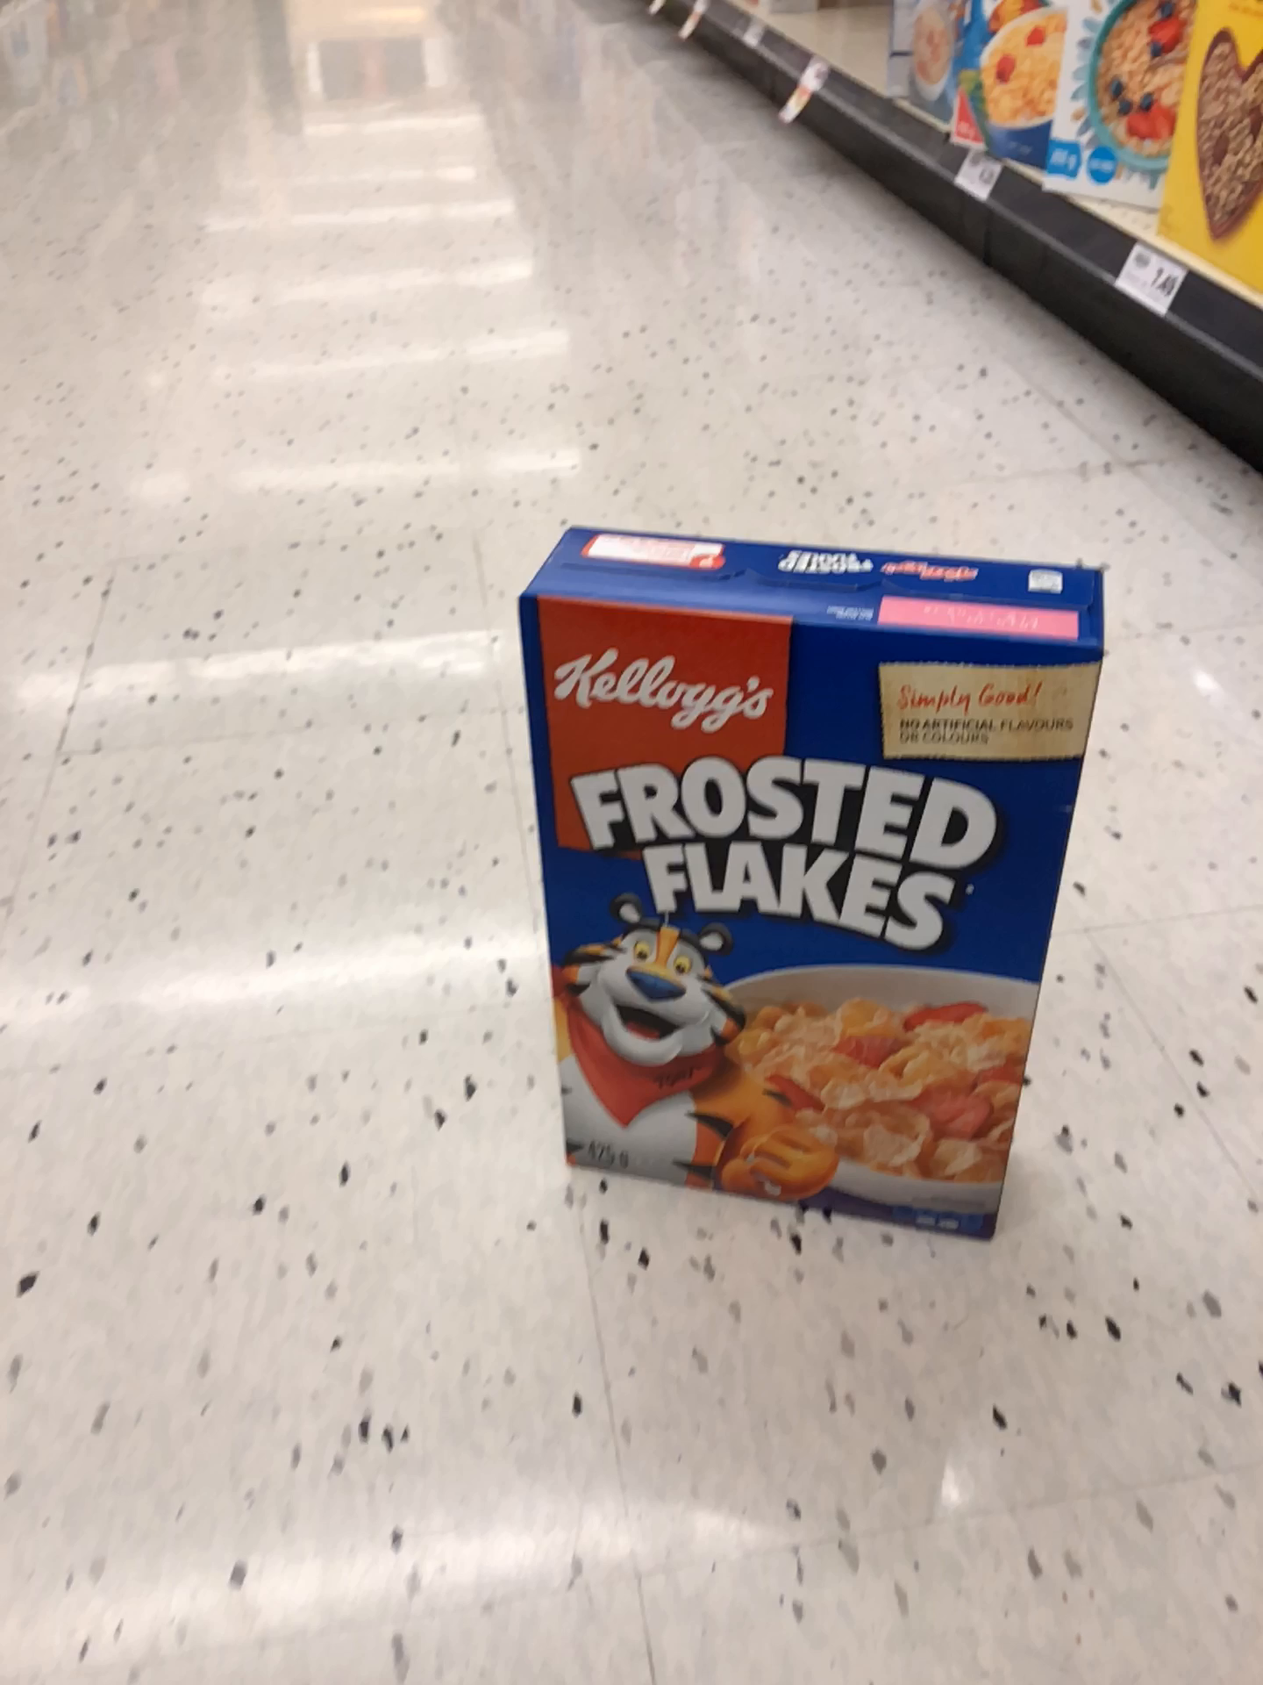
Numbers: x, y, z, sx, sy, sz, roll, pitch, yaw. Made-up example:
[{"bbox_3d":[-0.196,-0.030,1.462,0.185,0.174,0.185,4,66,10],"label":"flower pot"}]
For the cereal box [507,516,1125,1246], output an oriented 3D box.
[{"bbox_3d":[0.067,0.026,0.563,0.200,0.288,0.070,7,38,12],"label":"cereal box"}]
